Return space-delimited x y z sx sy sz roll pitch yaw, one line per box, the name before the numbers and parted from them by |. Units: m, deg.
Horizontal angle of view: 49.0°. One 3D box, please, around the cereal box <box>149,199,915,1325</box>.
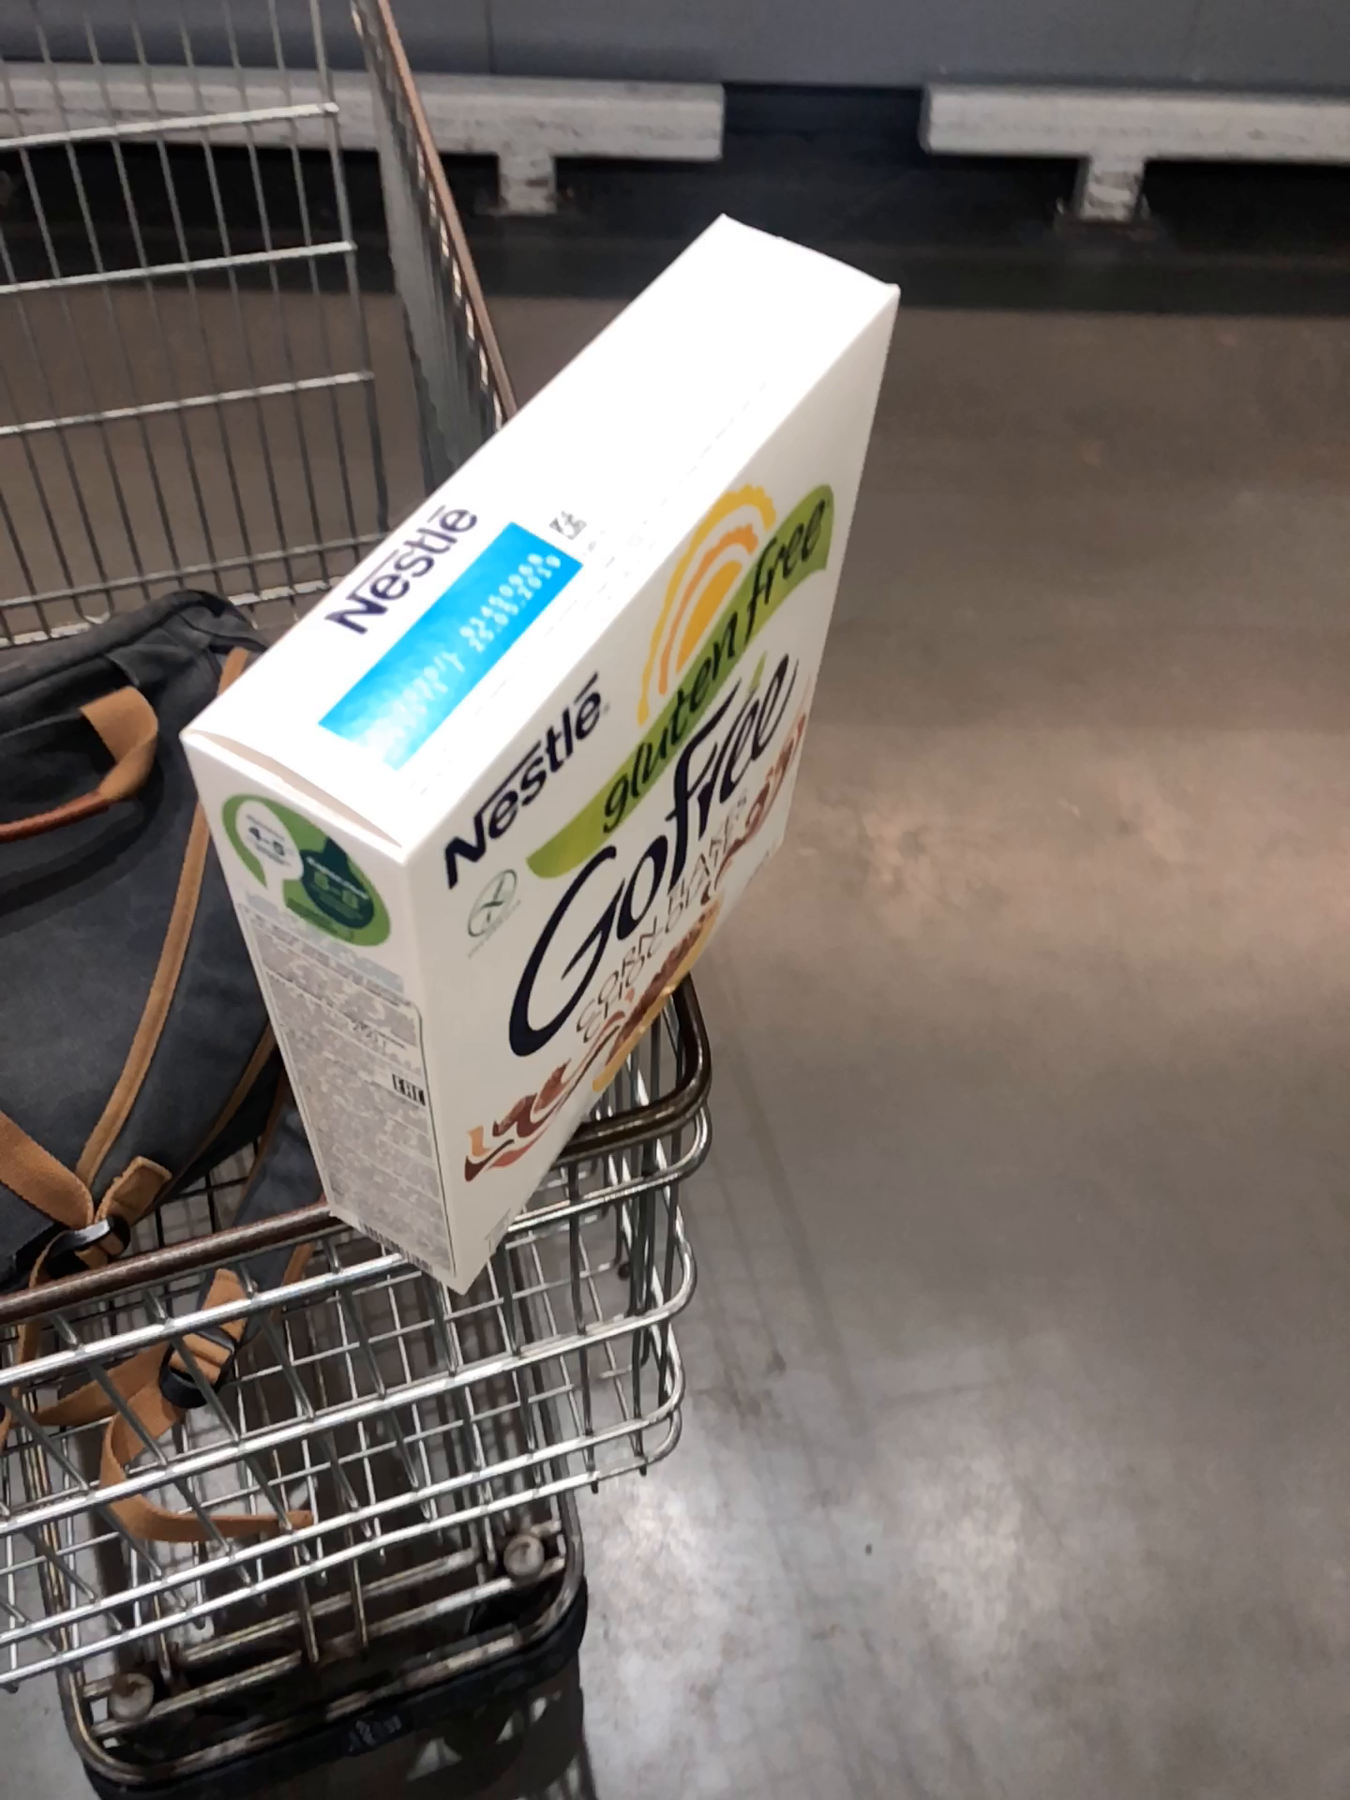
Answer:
cereal box | -0.024 -0.023 0.391 0.050 0.229 0.201 27 58 14
